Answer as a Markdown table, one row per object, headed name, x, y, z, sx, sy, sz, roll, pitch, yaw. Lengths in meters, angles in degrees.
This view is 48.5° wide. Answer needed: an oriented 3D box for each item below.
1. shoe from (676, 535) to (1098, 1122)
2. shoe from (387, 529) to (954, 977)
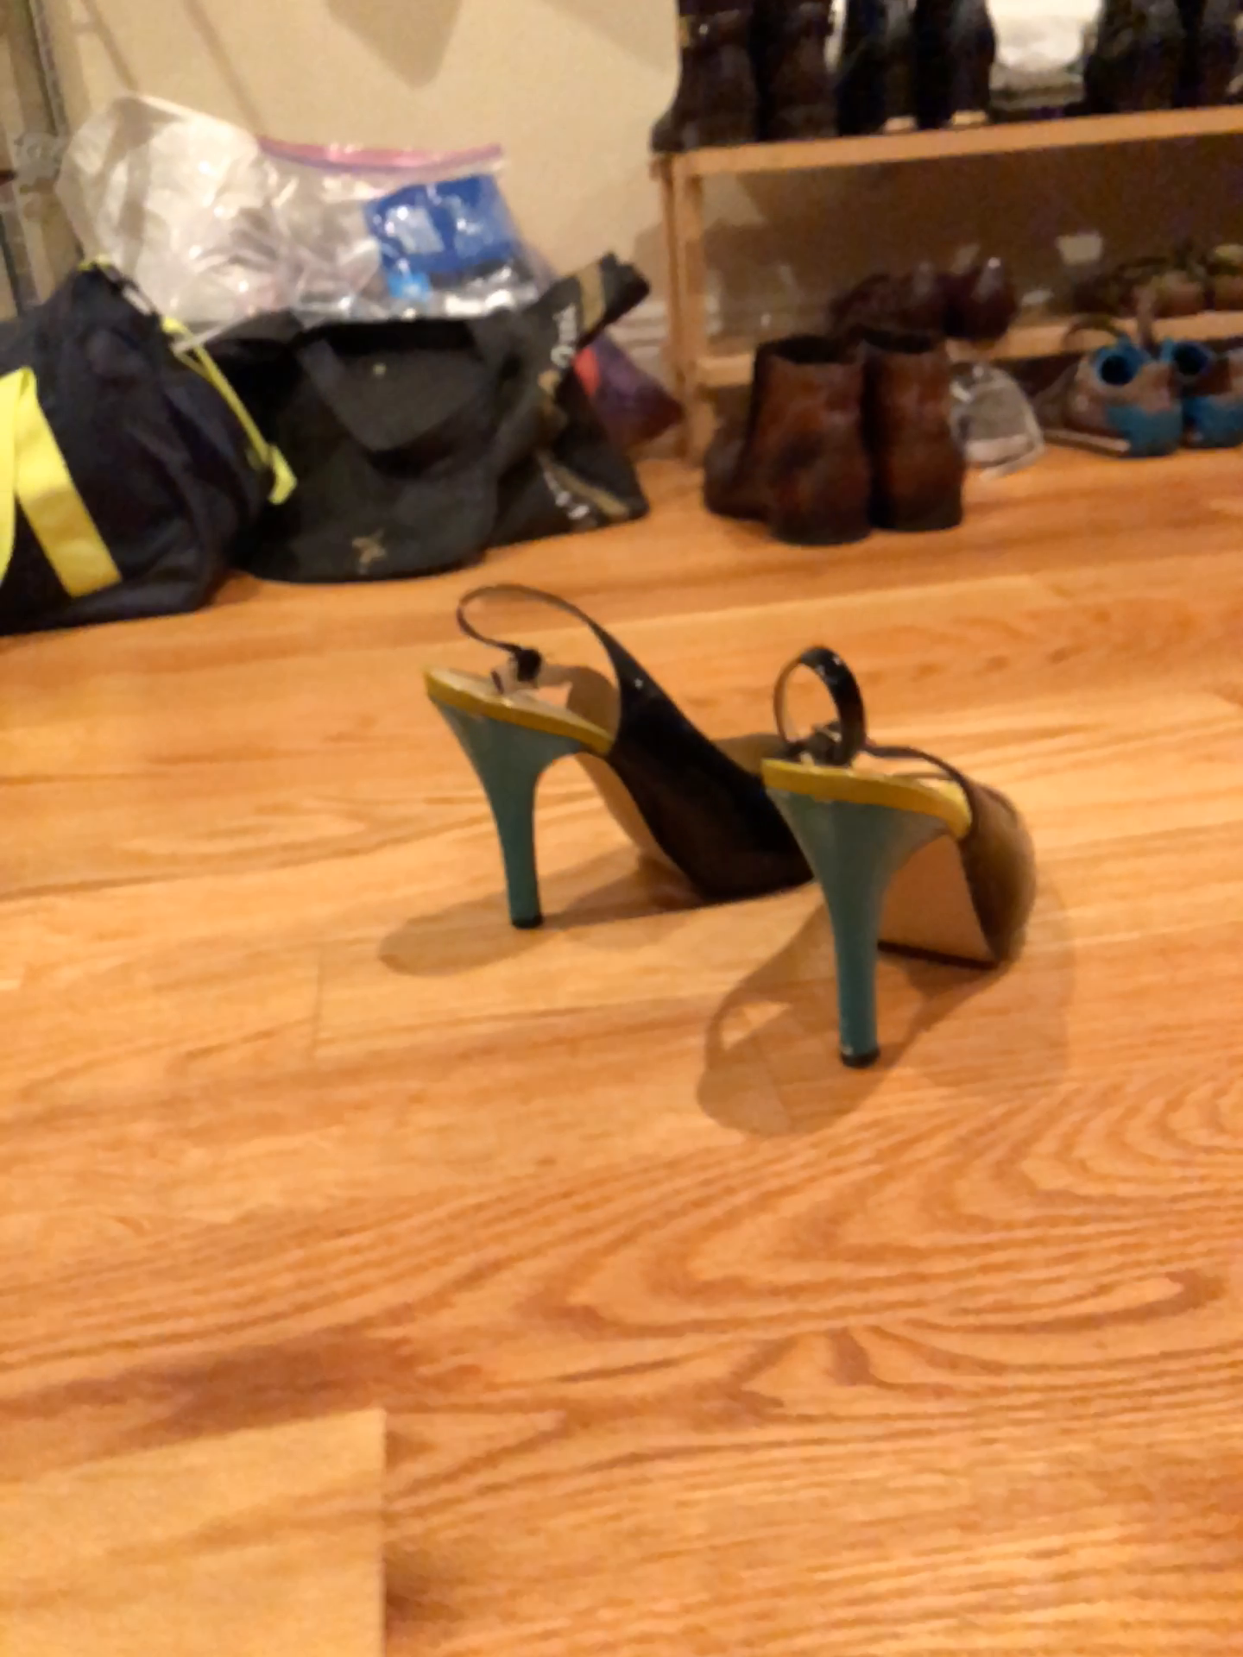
| name | x | y | z | sx | sy | sz | roll | pitch | yaw |
| --- | --- | --- | --- | --- | --- | --- | --- | --- | --- |
| shoe | 0.105 | -0.015 | 0.498 | 0.085 | 0.131 | 0.202 | 8 | 28 | 26 |
| shoe | 0.023 | -0.038 | 0.562 | 0.204 | 0.121 | 0.085 | -14 | 26 | -19 |
